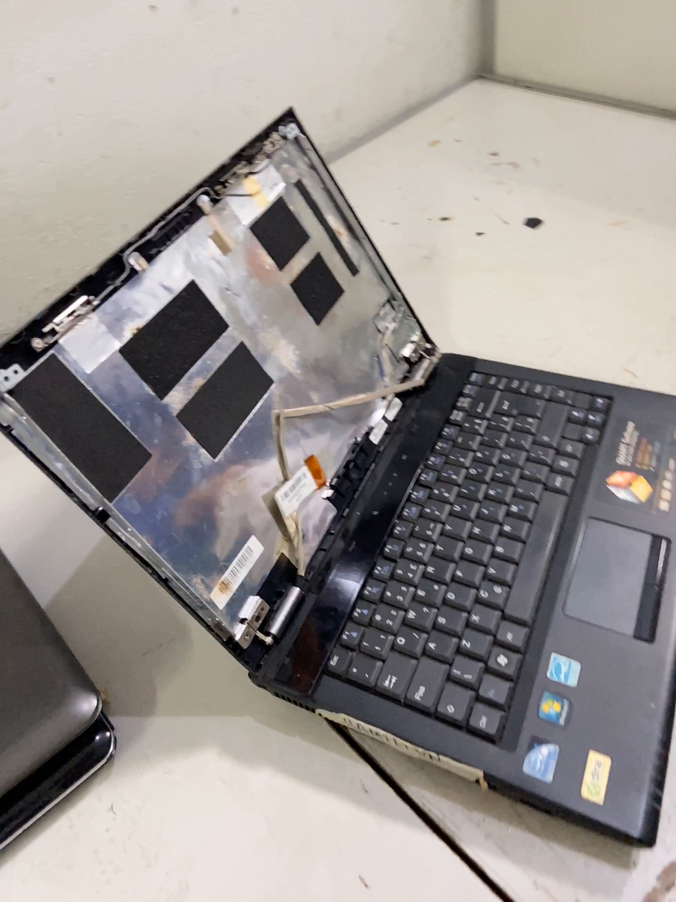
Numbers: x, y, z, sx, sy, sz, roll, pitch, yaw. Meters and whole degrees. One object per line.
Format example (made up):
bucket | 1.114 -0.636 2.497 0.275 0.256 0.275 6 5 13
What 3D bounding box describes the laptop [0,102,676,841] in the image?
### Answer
laptop | 0.059 -0.035 0.430 0.335 0.206 0.334 14 51 22
